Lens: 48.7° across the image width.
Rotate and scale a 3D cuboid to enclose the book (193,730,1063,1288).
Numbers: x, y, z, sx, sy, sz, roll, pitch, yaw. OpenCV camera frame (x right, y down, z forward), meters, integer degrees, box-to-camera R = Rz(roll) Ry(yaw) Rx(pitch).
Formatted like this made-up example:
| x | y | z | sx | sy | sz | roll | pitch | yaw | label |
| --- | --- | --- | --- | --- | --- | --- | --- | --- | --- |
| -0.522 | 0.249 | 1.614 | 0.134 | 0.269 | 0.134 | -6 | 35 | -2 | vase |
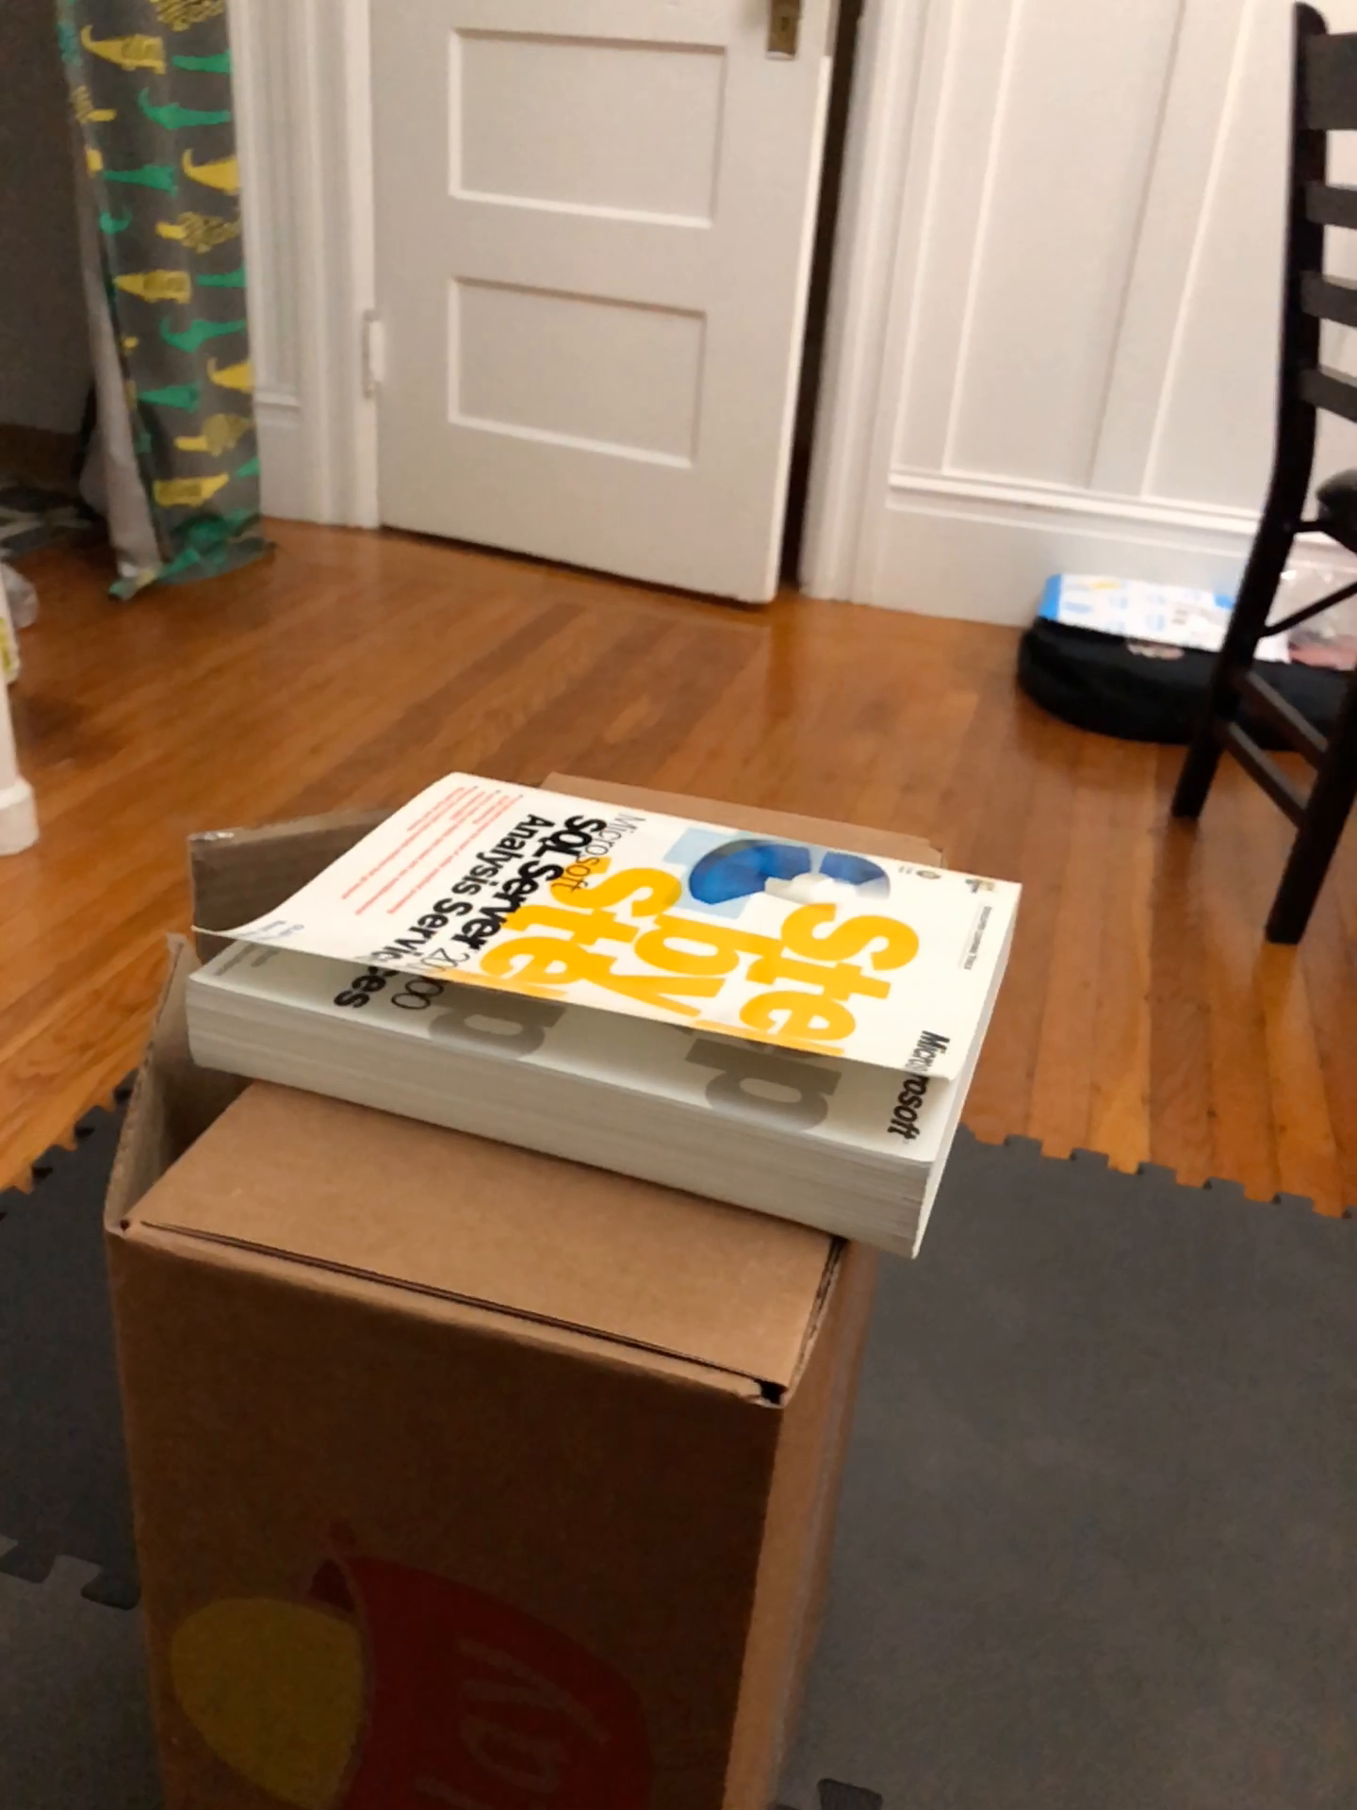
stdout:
| x | y | z | sx | sy | sz | roll | pitch | yaw | label |
| --- | --- | --- | --- | --- | --- | --- | --- | --- | --- |
| 0.000 | 0.017 | 0.505 | 0.240 | 0.050 | 0.201 | 9 | 30 | 12 | book |
